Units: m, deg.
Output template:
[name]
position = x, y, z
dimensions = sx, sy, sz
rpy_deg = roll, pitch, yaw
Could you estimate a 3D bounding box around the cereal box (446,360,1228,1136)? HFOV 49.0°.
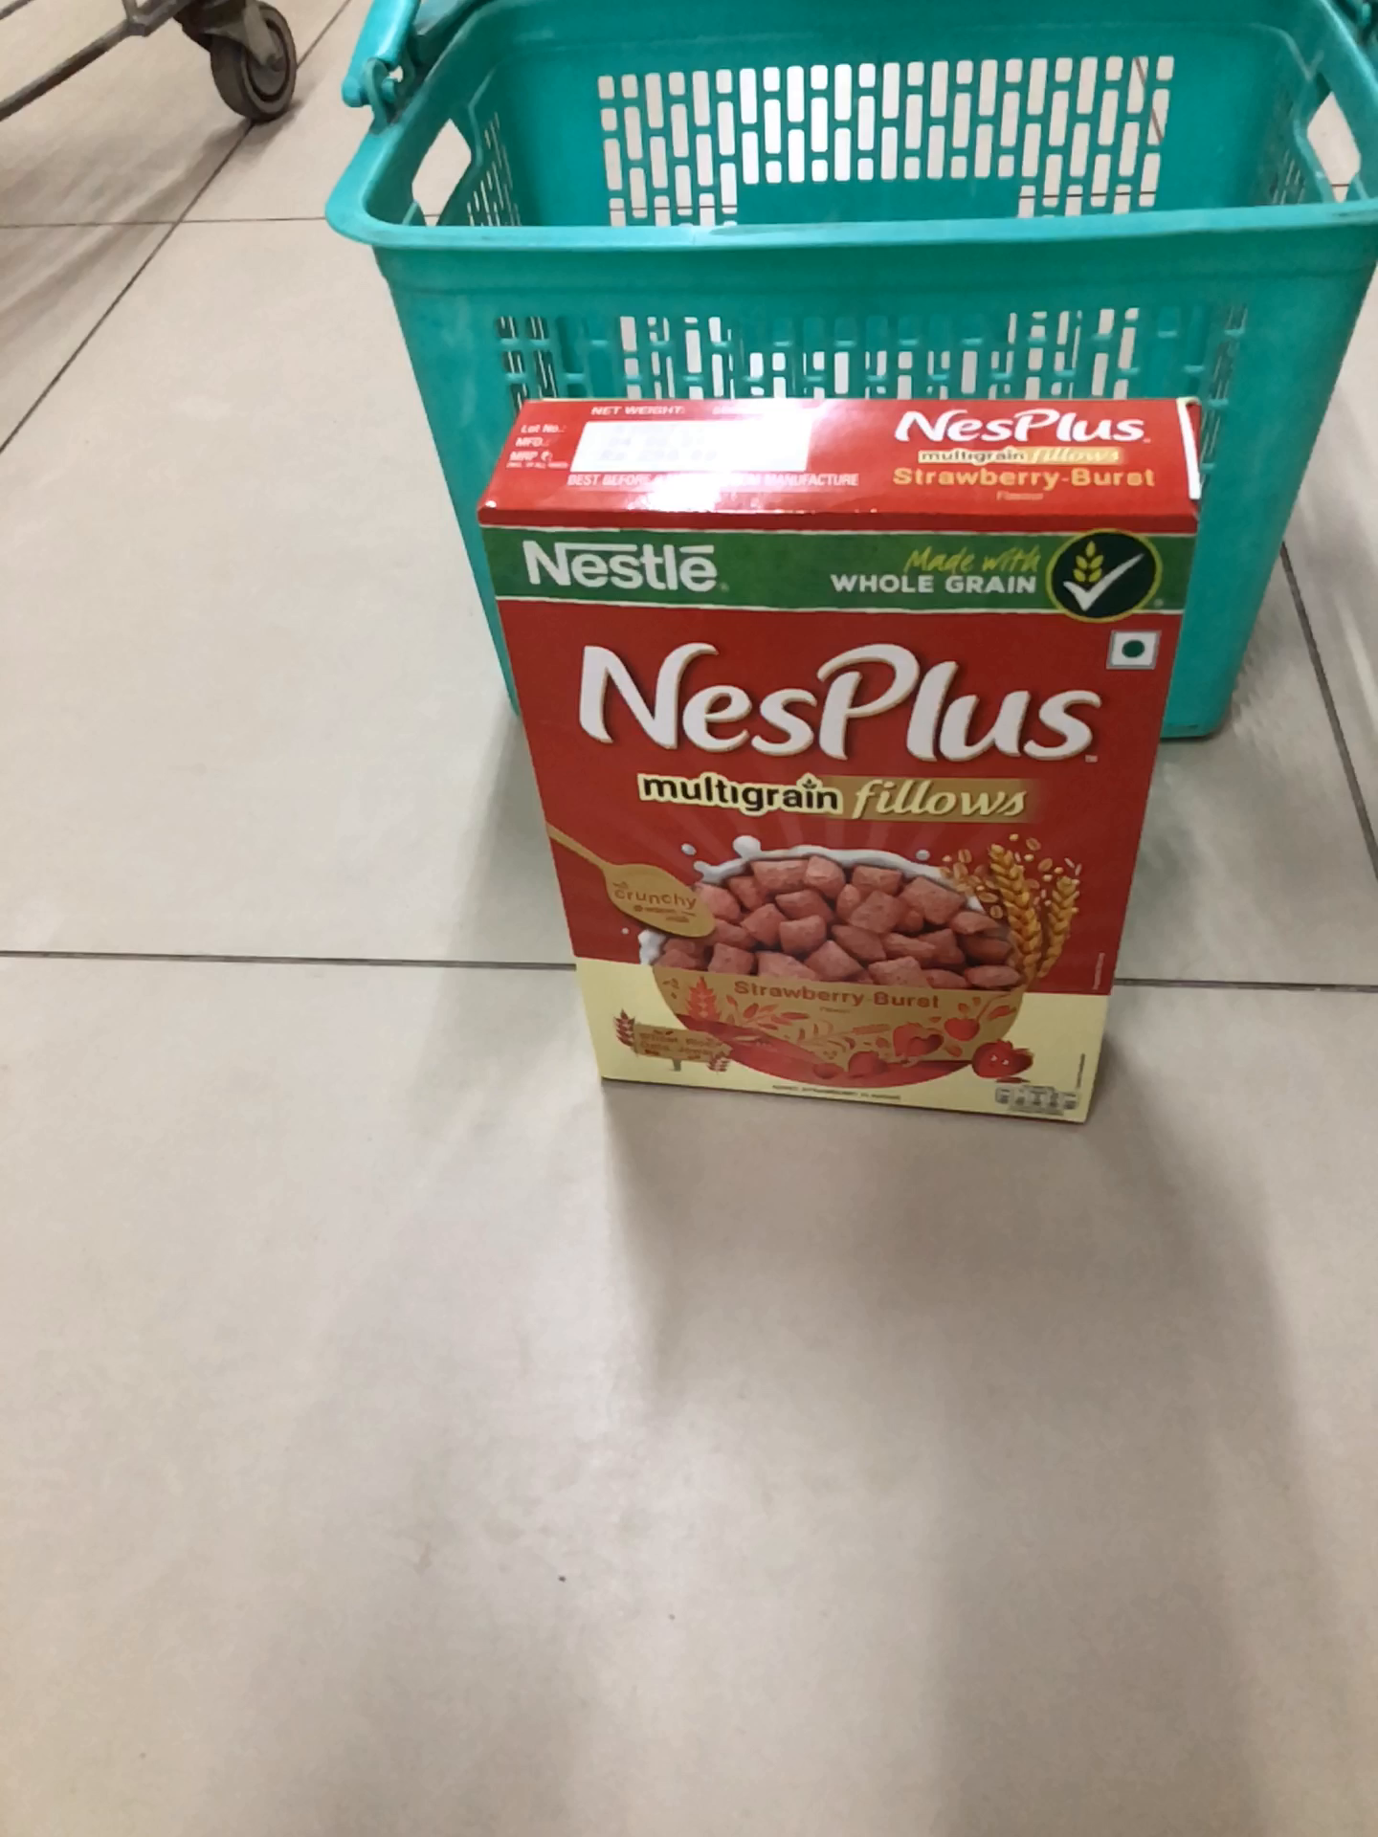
[cereal box]
position = 0.046, -0.039, 0.481
dimensions = 0.190, 0.258, 0.060
rpy_deg = 4, 48, 10
